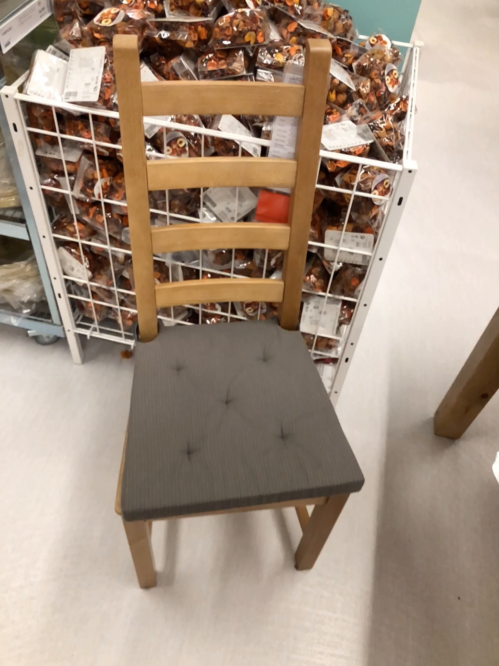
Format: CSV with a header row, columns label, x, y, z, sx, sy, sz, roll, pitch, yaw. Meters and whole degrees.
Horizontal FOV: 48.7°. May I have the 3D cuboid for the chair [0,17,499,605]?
label,x,y,z,sx,sy,sz,roll,pitch,yaw
chair,-0.046,0.053,0.942,0.430,0.914,0.473,-4,50,-9
